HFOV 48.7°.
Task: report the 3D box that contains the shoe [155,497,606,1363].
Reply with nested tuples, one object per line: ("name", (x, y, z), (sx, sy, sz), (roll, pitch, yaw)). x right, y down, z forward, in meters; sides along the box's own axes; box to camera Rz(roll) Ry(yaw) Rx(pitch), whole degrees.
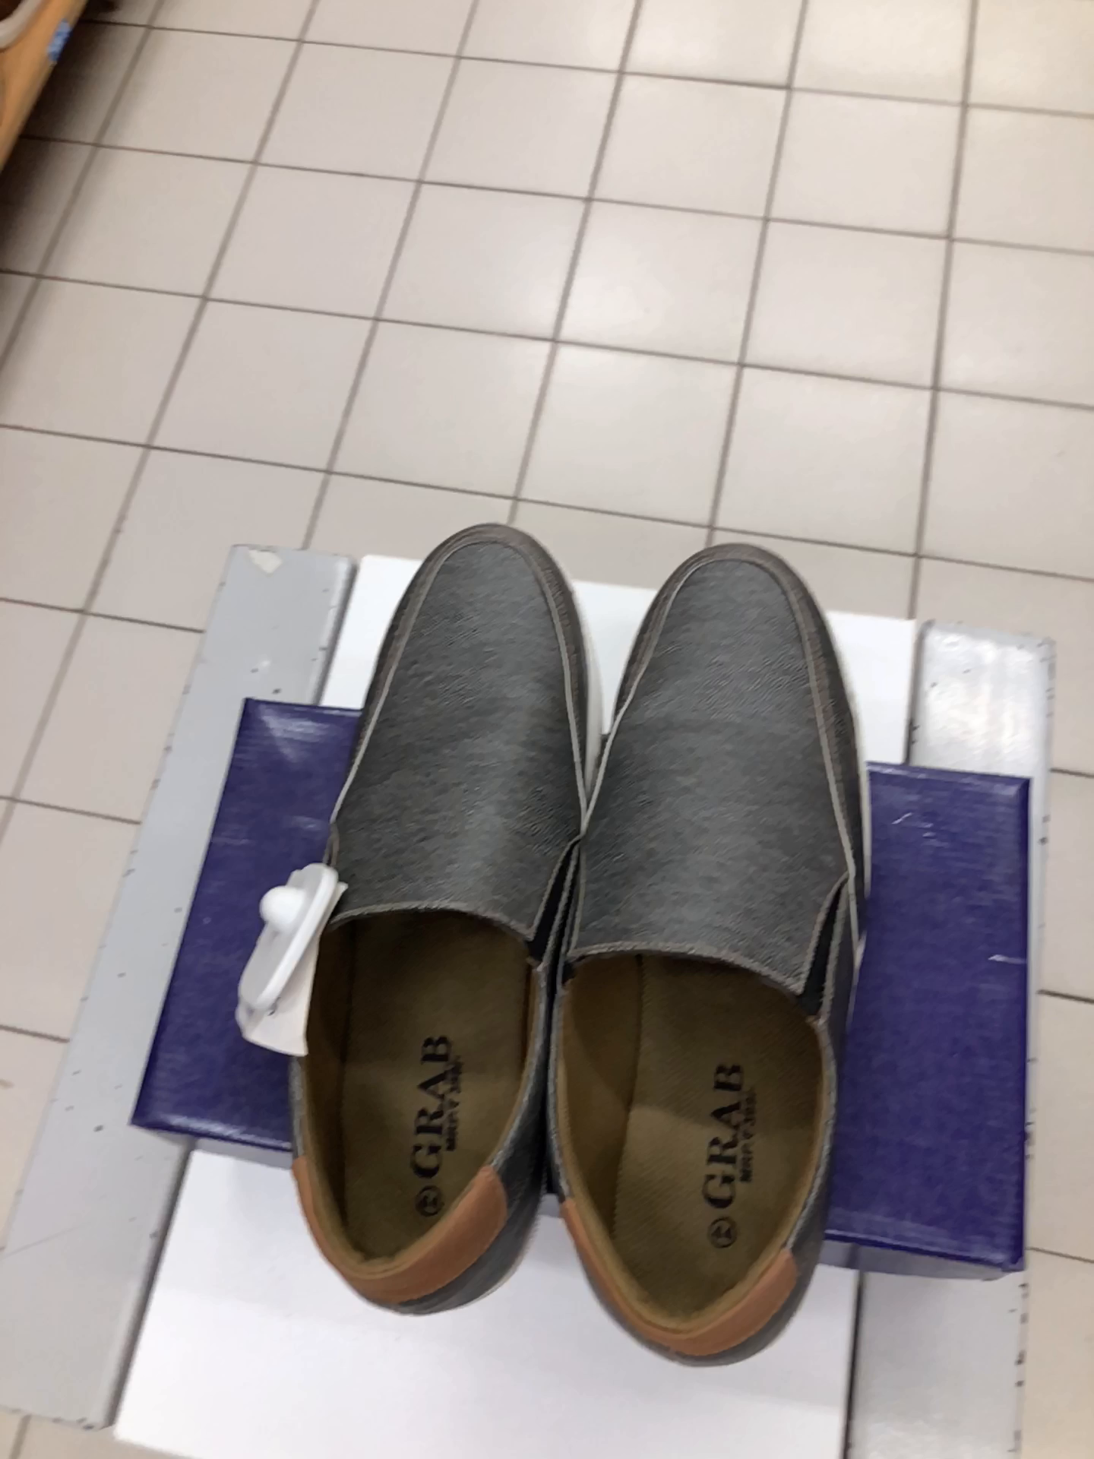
("shoe", (-0.042, 0.062, 0.428), (0.100, 0.100, 0.271), (3, 68, 7))

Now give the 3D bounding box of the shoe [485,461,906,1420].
("shoe", (0.064, 0.068, 0.459), (0.100, 0.120, 0.311), (7, 69, 9))
